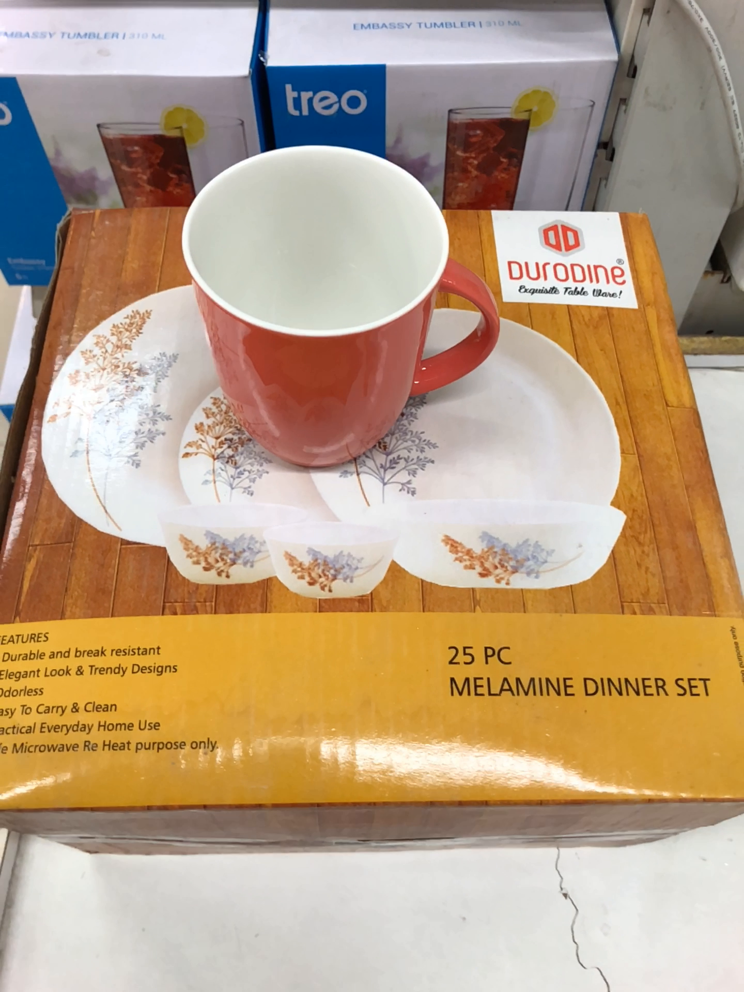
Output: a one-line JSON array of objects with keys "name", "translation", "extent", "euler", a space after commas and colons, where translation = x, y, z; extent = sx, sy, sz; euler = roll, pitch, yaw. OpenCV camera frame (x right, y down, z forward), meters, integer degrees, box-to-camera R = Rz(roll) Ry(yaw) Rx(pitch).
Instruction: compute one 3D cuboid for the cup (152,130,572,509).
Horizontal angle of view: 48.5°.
[{"name": "cup", "translation": [-0.001, -0.061, 0.302], "extent": [0.120, 0.100, 0.090], "euler": [1, 59, 1]}]
